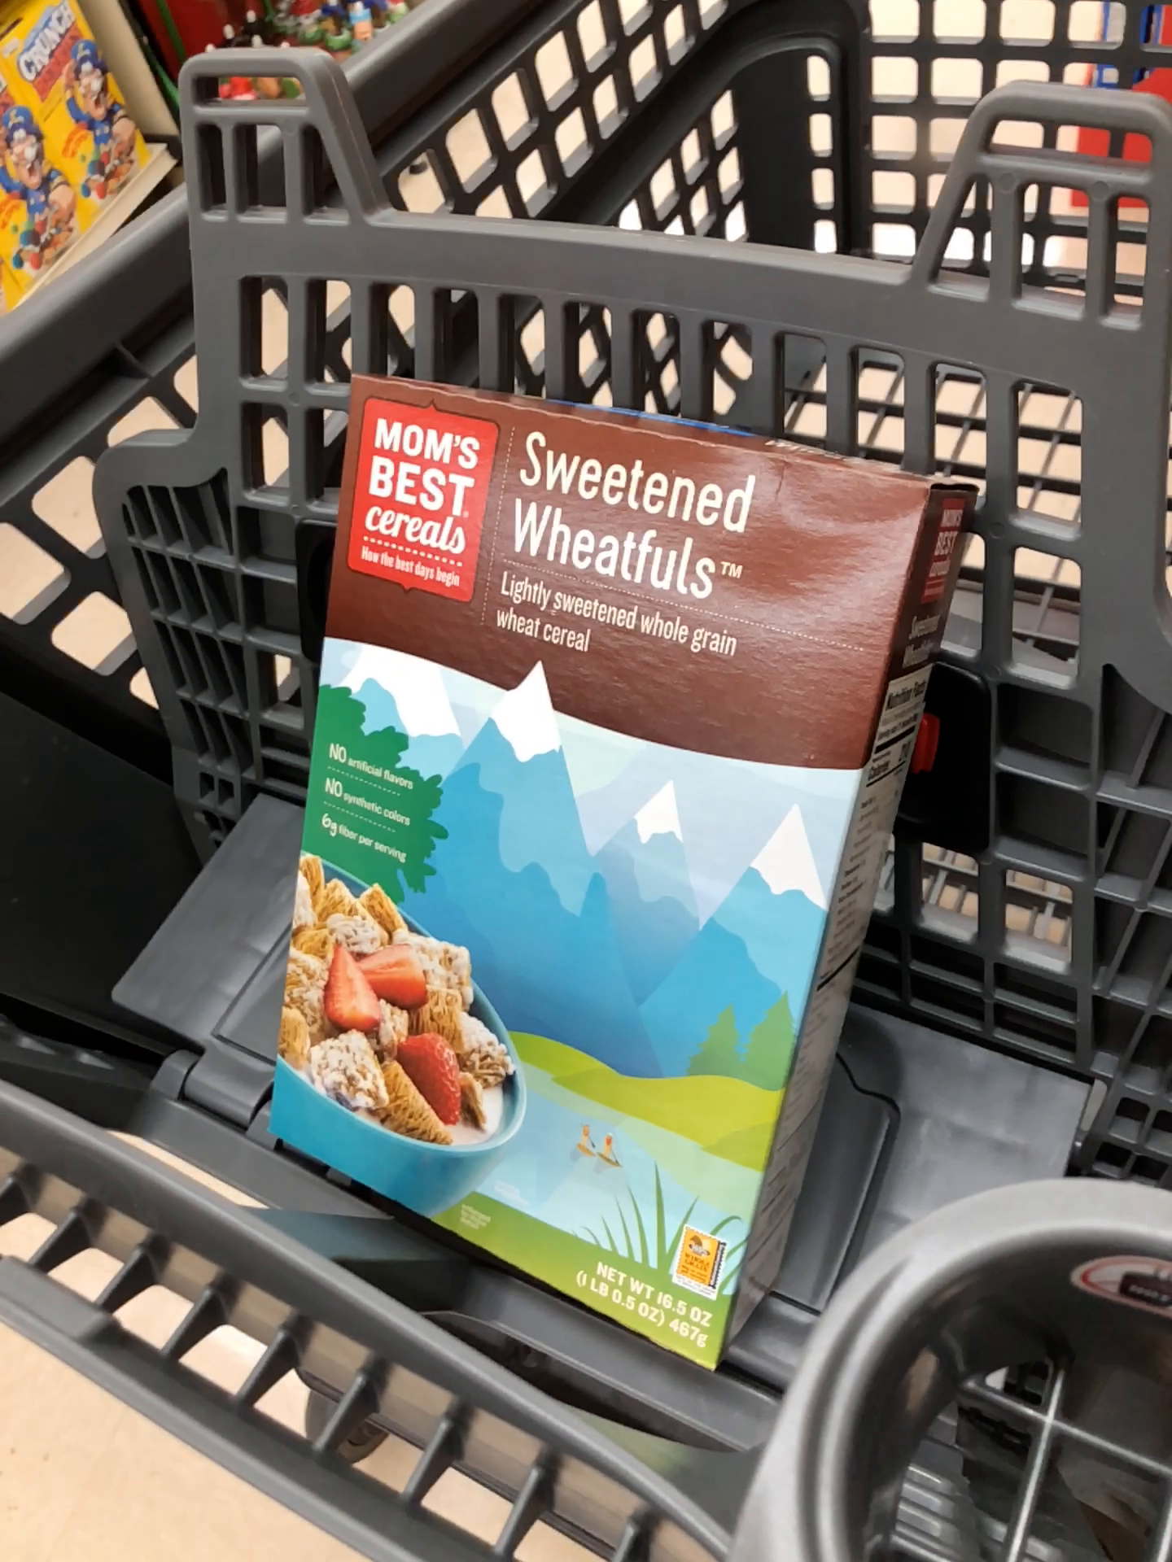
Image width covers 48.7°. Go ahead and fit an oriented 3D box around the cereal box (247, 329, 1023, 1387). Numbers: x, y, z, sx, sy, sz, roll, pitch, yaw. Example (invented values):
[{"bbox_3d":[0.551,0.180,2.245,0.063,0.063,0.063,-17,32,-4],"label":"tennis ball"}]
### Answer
[{"bbox_3d":[0.001,0.016,0.439,0.200,0.290,0.080,19,19,26],"label":"cereal box"}]
